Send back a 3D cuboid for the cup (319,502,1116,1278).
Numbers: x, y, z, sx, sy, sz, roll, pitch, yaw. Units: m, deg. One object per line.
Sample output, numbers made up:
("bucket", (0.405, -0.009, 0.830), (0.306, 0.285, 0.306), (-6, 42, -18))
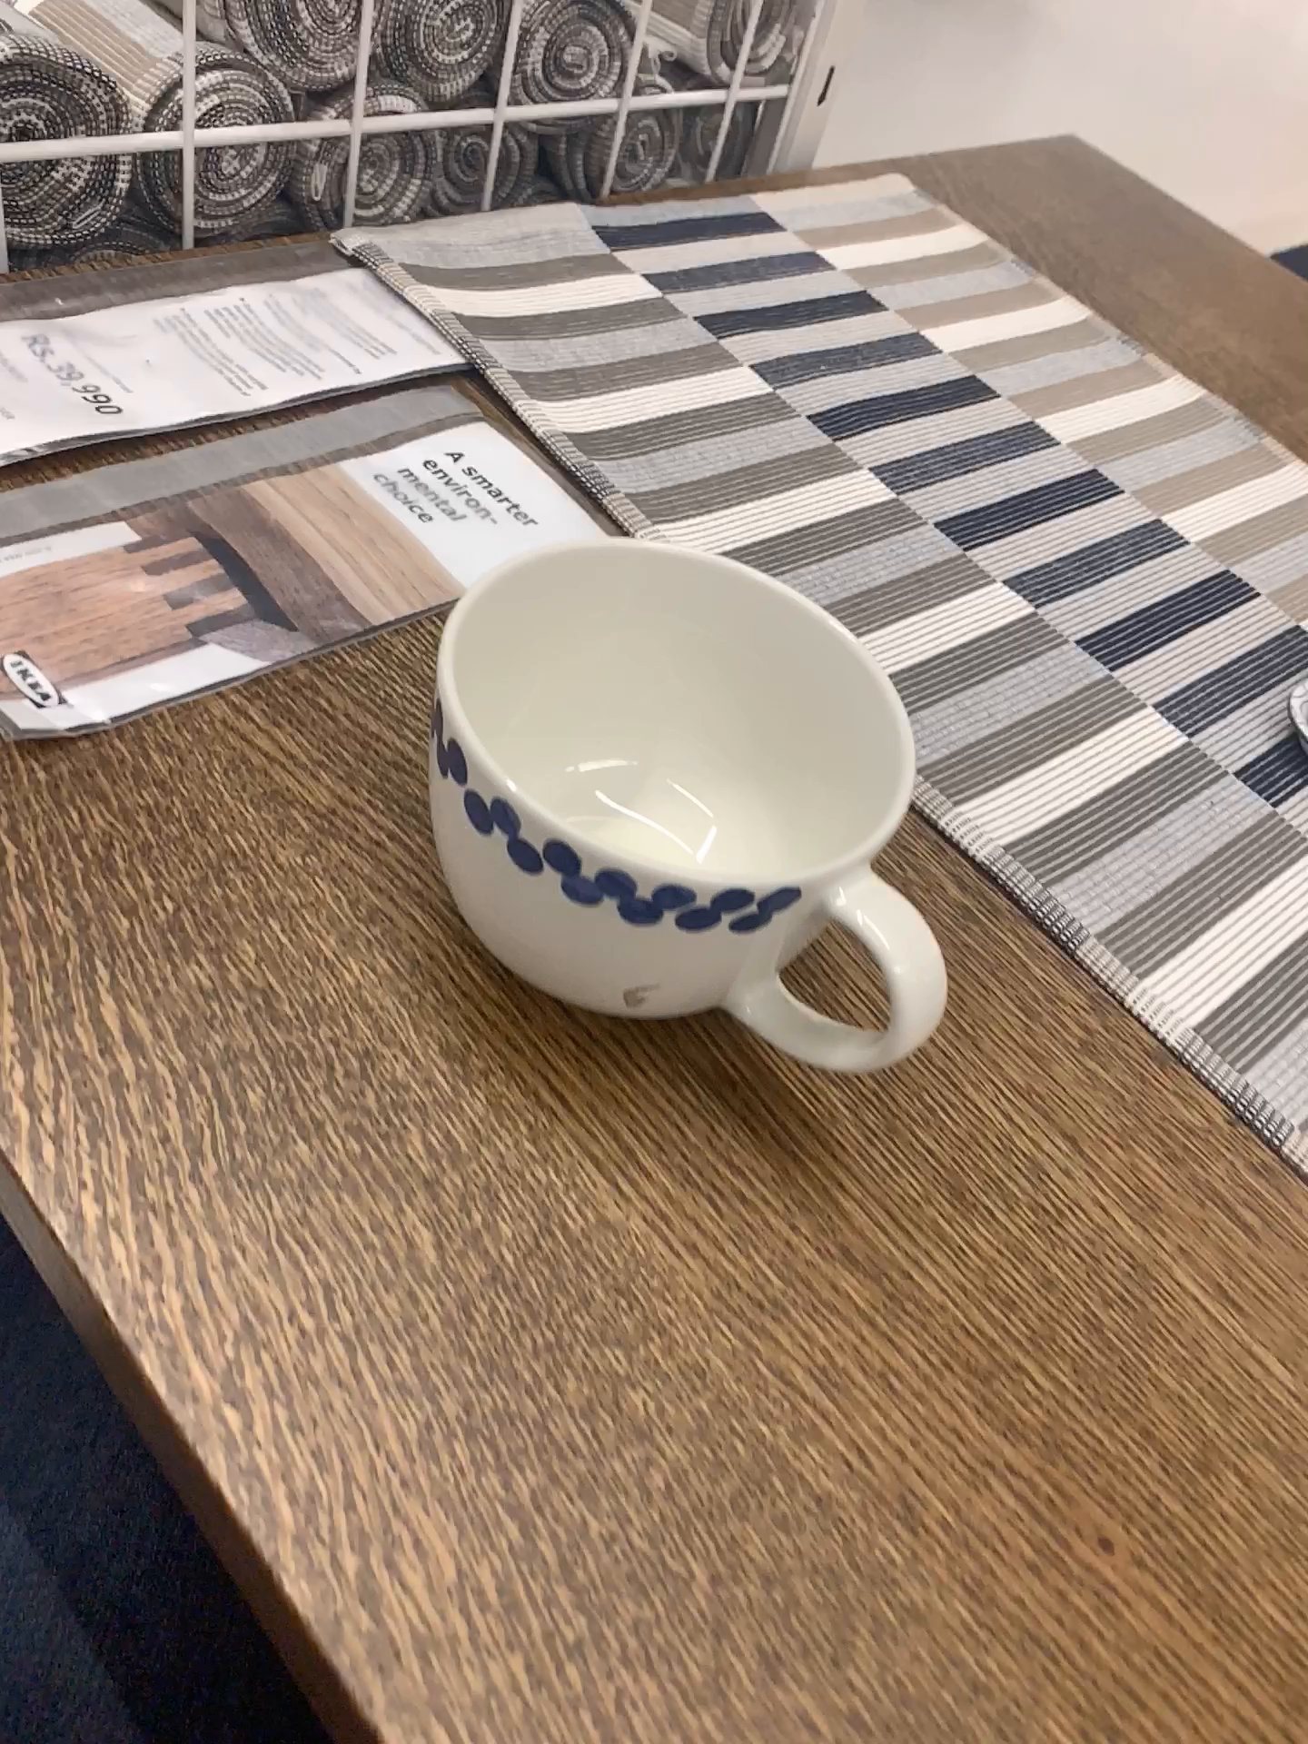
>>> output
("cup", (0.008, -0.004, 0.296), (0.100, 0.070, 0.130), (-27, 63, -35))
